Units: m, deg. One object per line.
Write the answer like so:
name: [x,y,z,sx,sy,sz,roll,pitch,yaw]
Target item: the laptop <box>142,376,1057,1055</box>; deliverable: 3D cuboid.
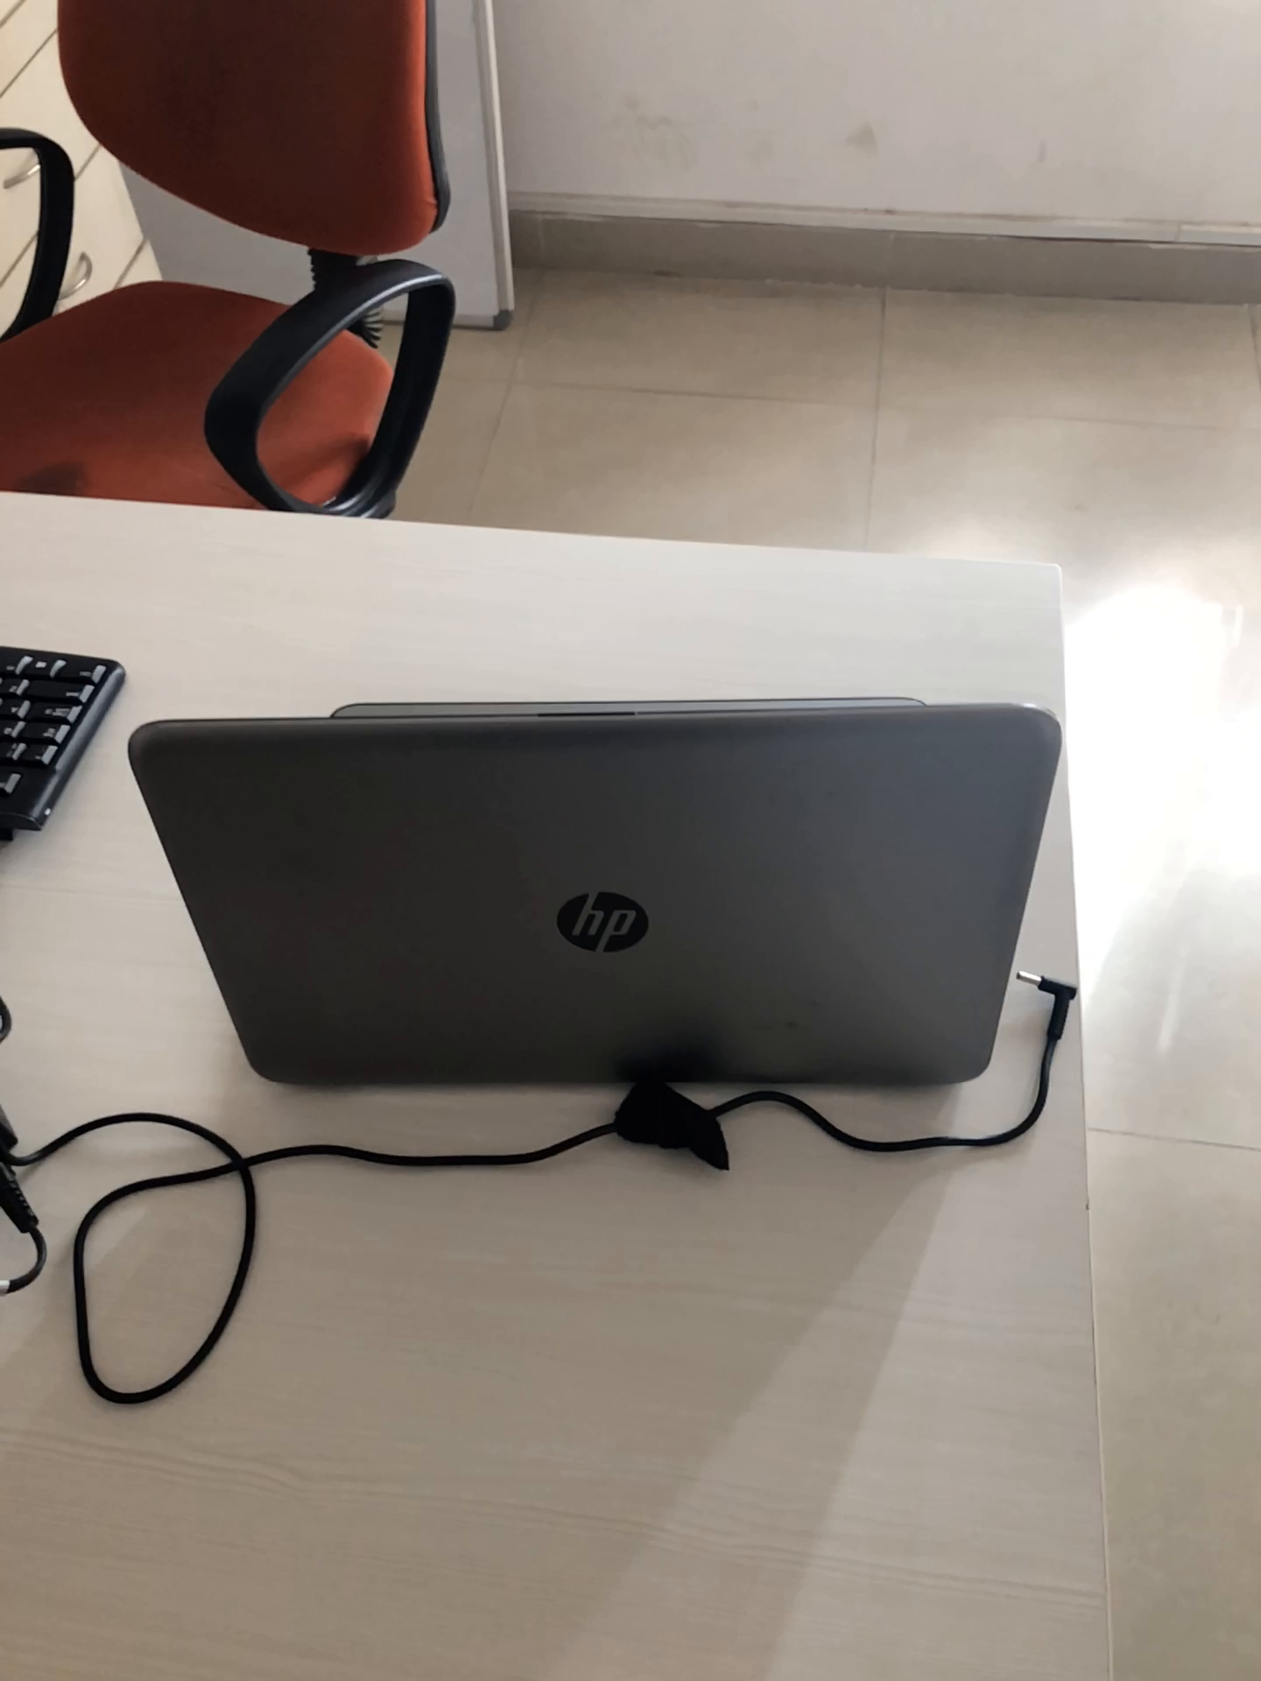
laptop: [-0.009,-0.050,0.677,0.350,0.226,0.217,0,57,4]
